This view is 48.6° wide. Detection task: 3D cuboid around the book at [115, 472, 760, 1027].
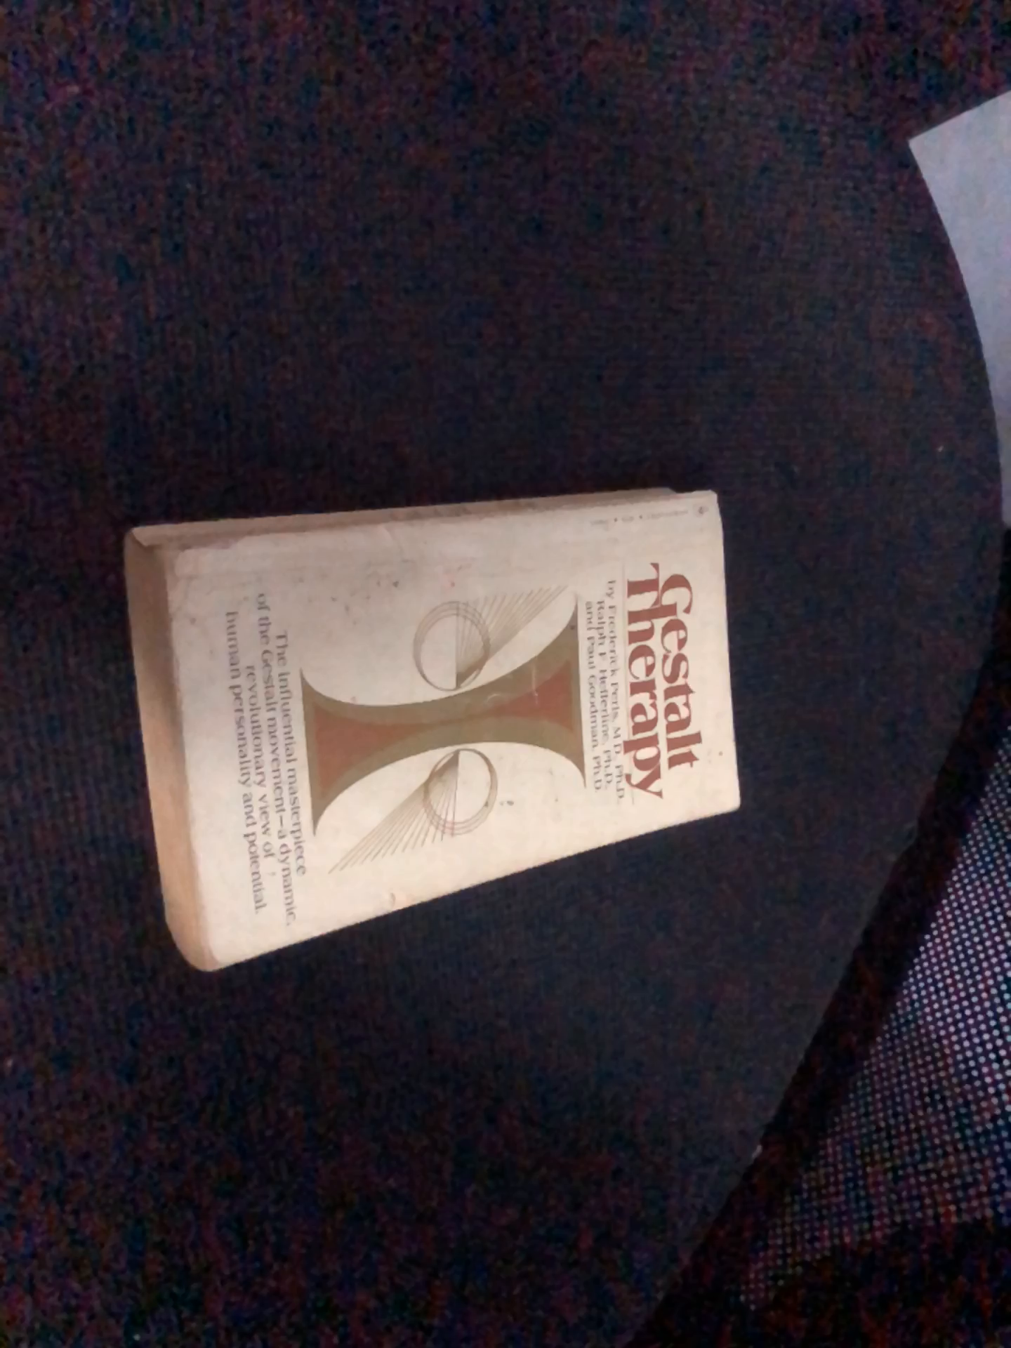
[{"bbox_3d":[-0.006,0.009,0.320,0.183,0.034,0.120,-11,101,-33],"label":"book"}]
